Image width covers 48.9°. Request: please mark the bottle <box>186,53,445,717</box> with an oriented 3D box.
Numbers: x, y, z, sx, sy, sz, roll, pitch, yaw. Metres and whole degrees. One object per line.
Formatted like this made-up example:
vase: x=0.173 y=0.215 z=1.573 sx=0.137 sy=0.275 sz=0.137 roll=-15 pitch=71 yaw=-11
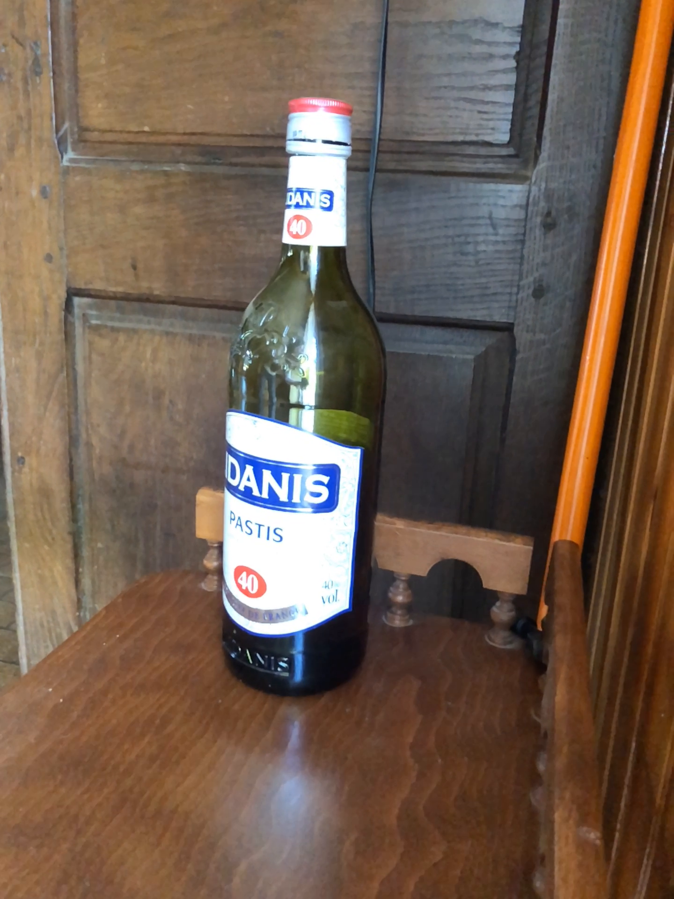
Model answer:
bottle: x=-0.016 y=-0.028 z=0.384 sx=0.090 sy=0.299 sz=0.080 roll=13 pitch=19 yaw=32
